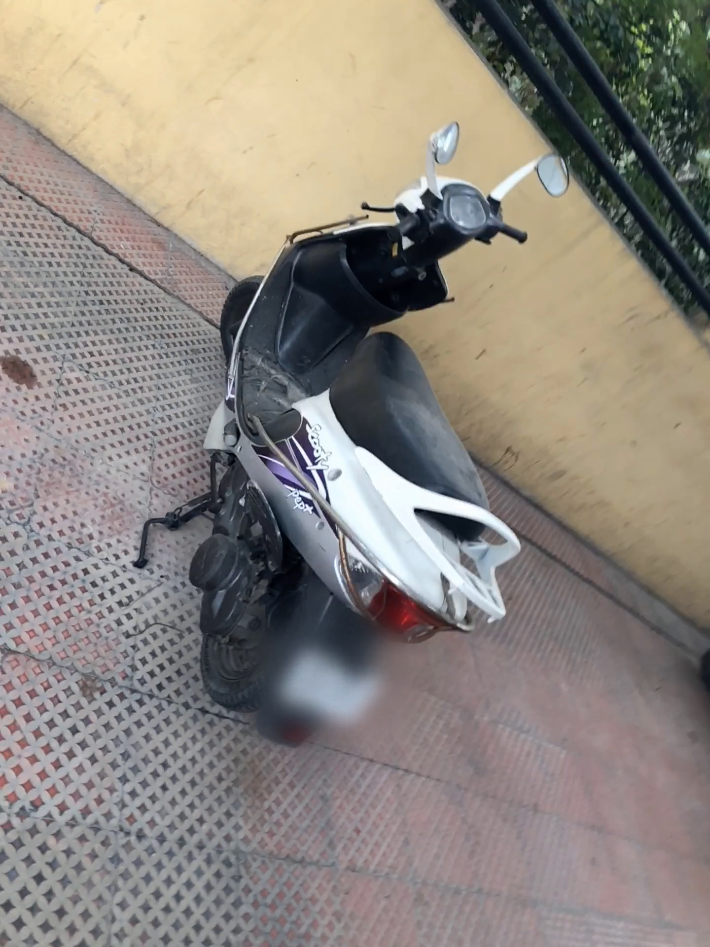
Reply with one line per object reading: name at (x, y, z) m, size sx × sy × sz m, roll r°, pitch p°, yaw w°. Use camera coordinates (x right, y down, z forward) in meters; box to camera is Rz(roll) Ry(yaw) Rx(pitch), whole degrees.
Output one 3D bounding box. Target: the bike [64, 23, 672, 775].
bike at (-0.045, -0.223, 2.014) m, size 0.601 × 1.081 × 1.477 m, roll 33°, pitch 36°, yaw -36°
